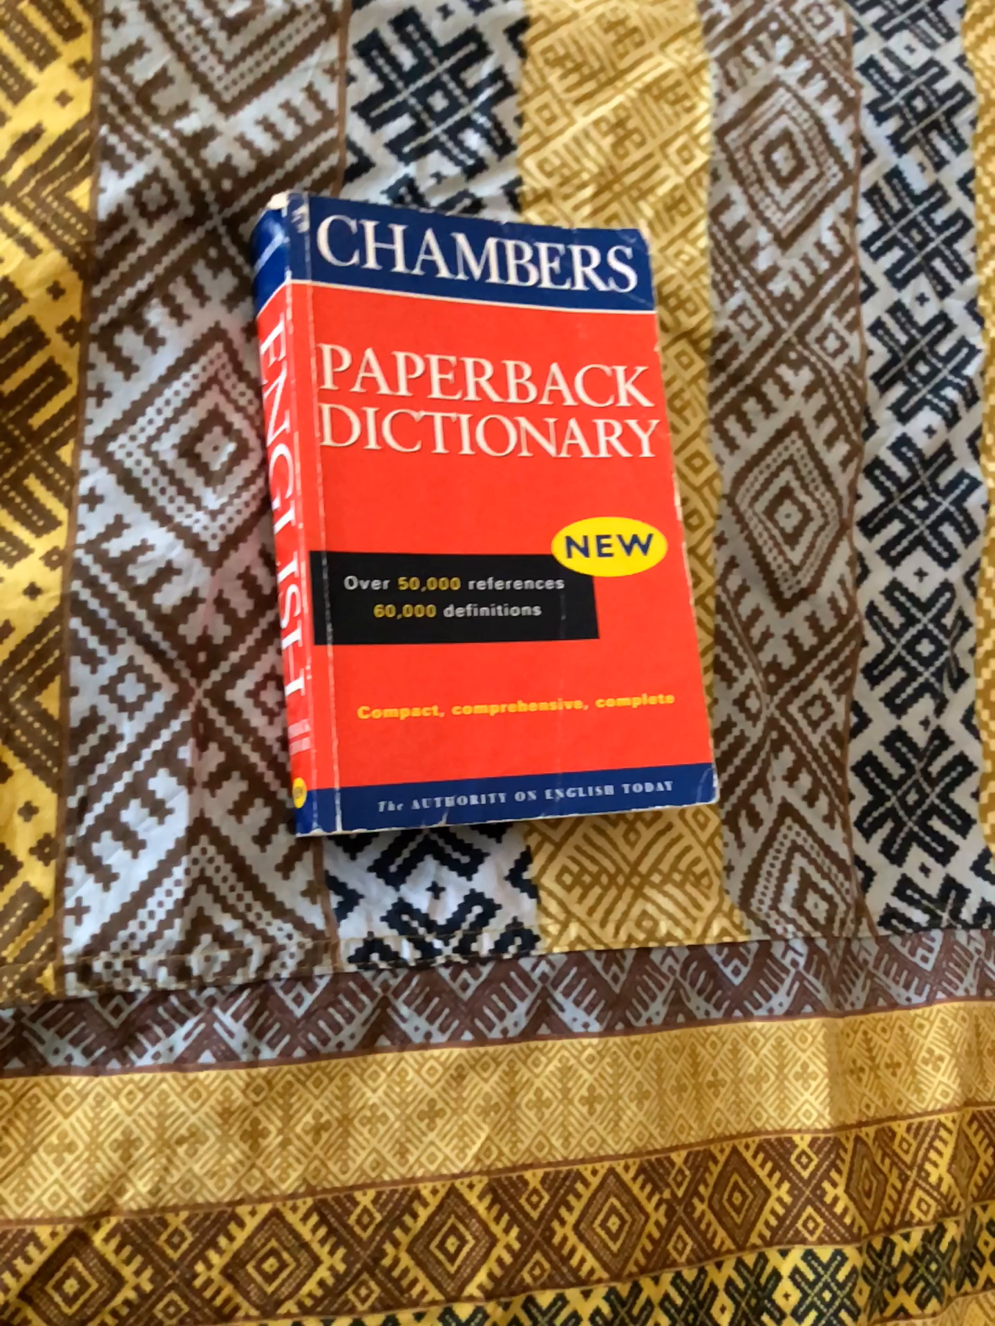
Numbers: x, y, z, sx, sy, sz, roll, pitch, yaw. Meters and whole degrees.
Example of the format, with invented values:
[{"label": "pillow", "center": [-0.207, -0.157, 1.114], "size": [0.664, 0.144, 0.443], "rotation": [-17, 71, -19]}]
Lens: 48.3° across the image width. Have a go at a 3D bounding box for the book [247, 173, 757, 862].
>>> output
[{"label": "book", "center": [-0.001, -0.037, 0.301], "size": [0.117, 0.044, 0.165], "rotation": [-3, 84, -20]}]
